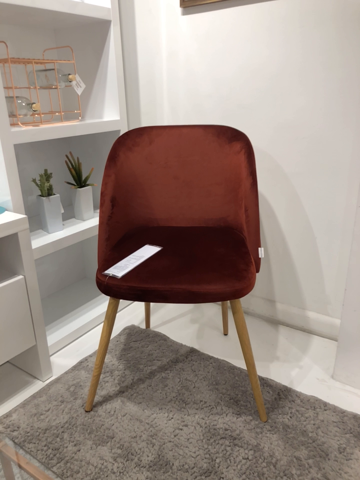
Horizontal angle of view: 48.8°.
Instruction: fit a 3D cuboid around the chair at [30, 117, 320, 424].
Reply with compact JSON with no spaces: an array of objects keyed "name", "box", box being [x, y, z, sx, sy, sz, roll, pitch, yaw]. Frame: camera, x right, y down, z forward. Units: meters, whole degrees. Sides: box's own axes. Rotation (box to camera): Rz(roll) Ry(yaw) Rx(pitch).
[{"name":"chair","box":[-0.002,0.026,1.237,0.590,0.735,0.654,-1,20,1]}]
